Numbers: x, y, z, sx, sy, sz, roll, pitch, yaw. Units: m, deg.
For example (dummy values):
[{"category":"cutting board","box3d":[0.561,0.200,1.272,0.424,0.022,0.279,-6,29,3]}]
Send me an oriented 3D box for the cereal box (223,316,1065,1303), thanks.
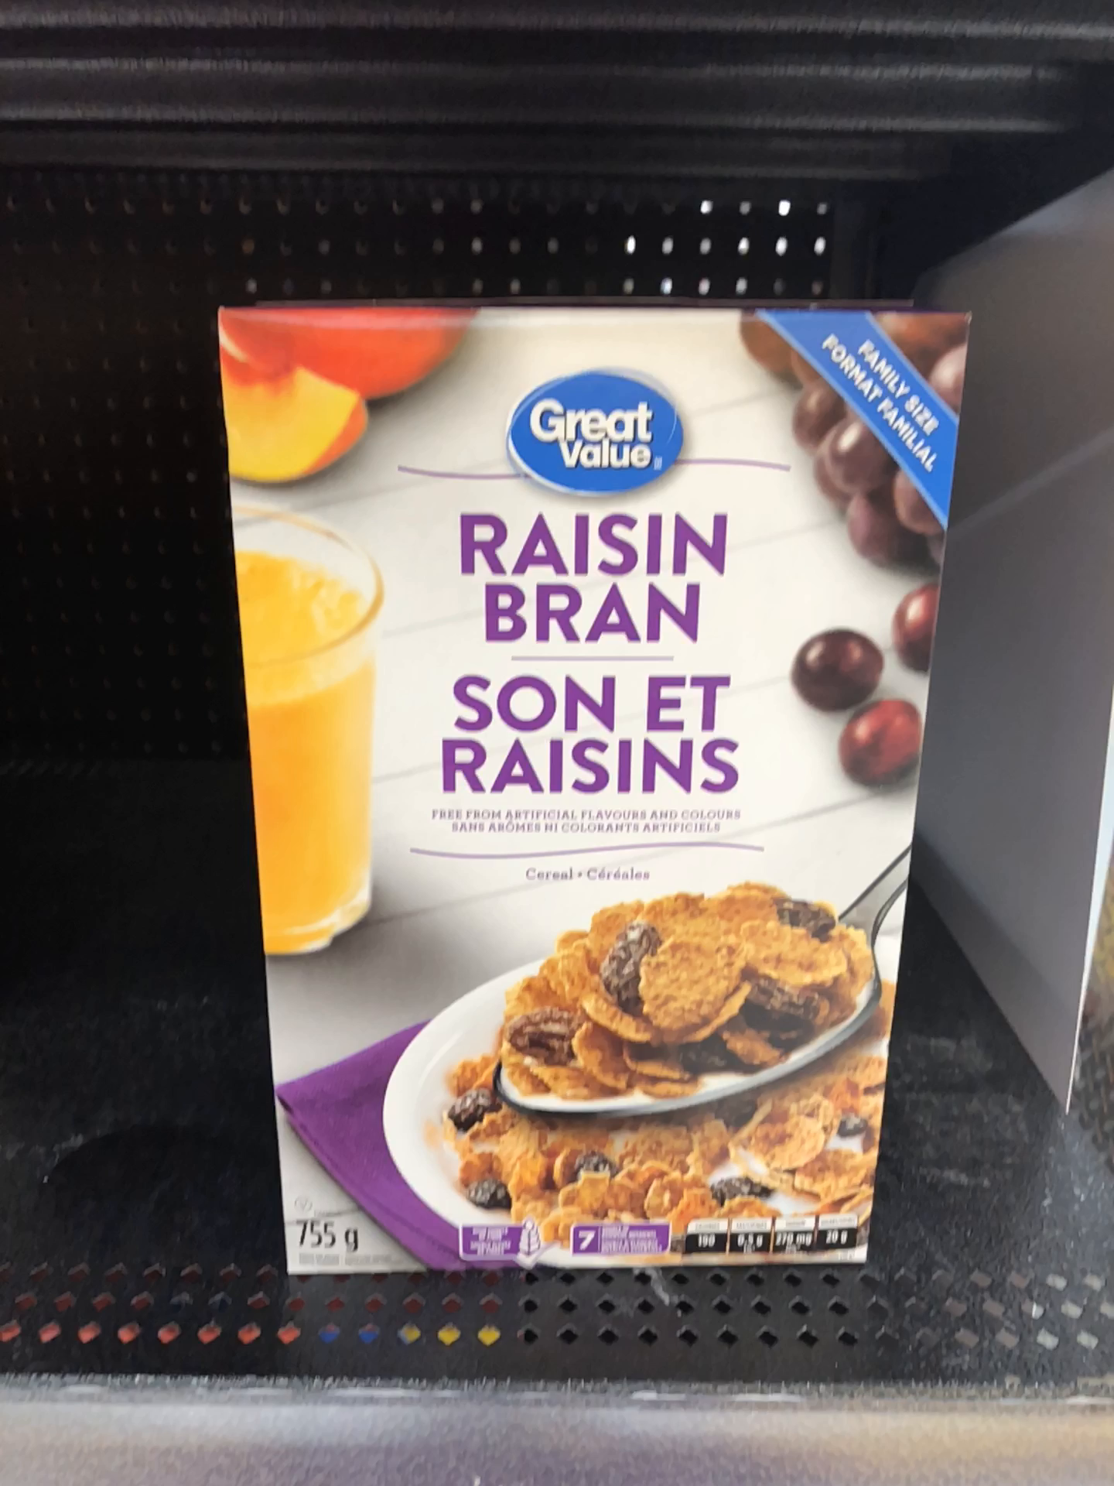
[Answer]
[{"category":"cereal box","box3d":[0.019,0.027,0.389,0.210,0.299,0.070,0,19,-3]}]
